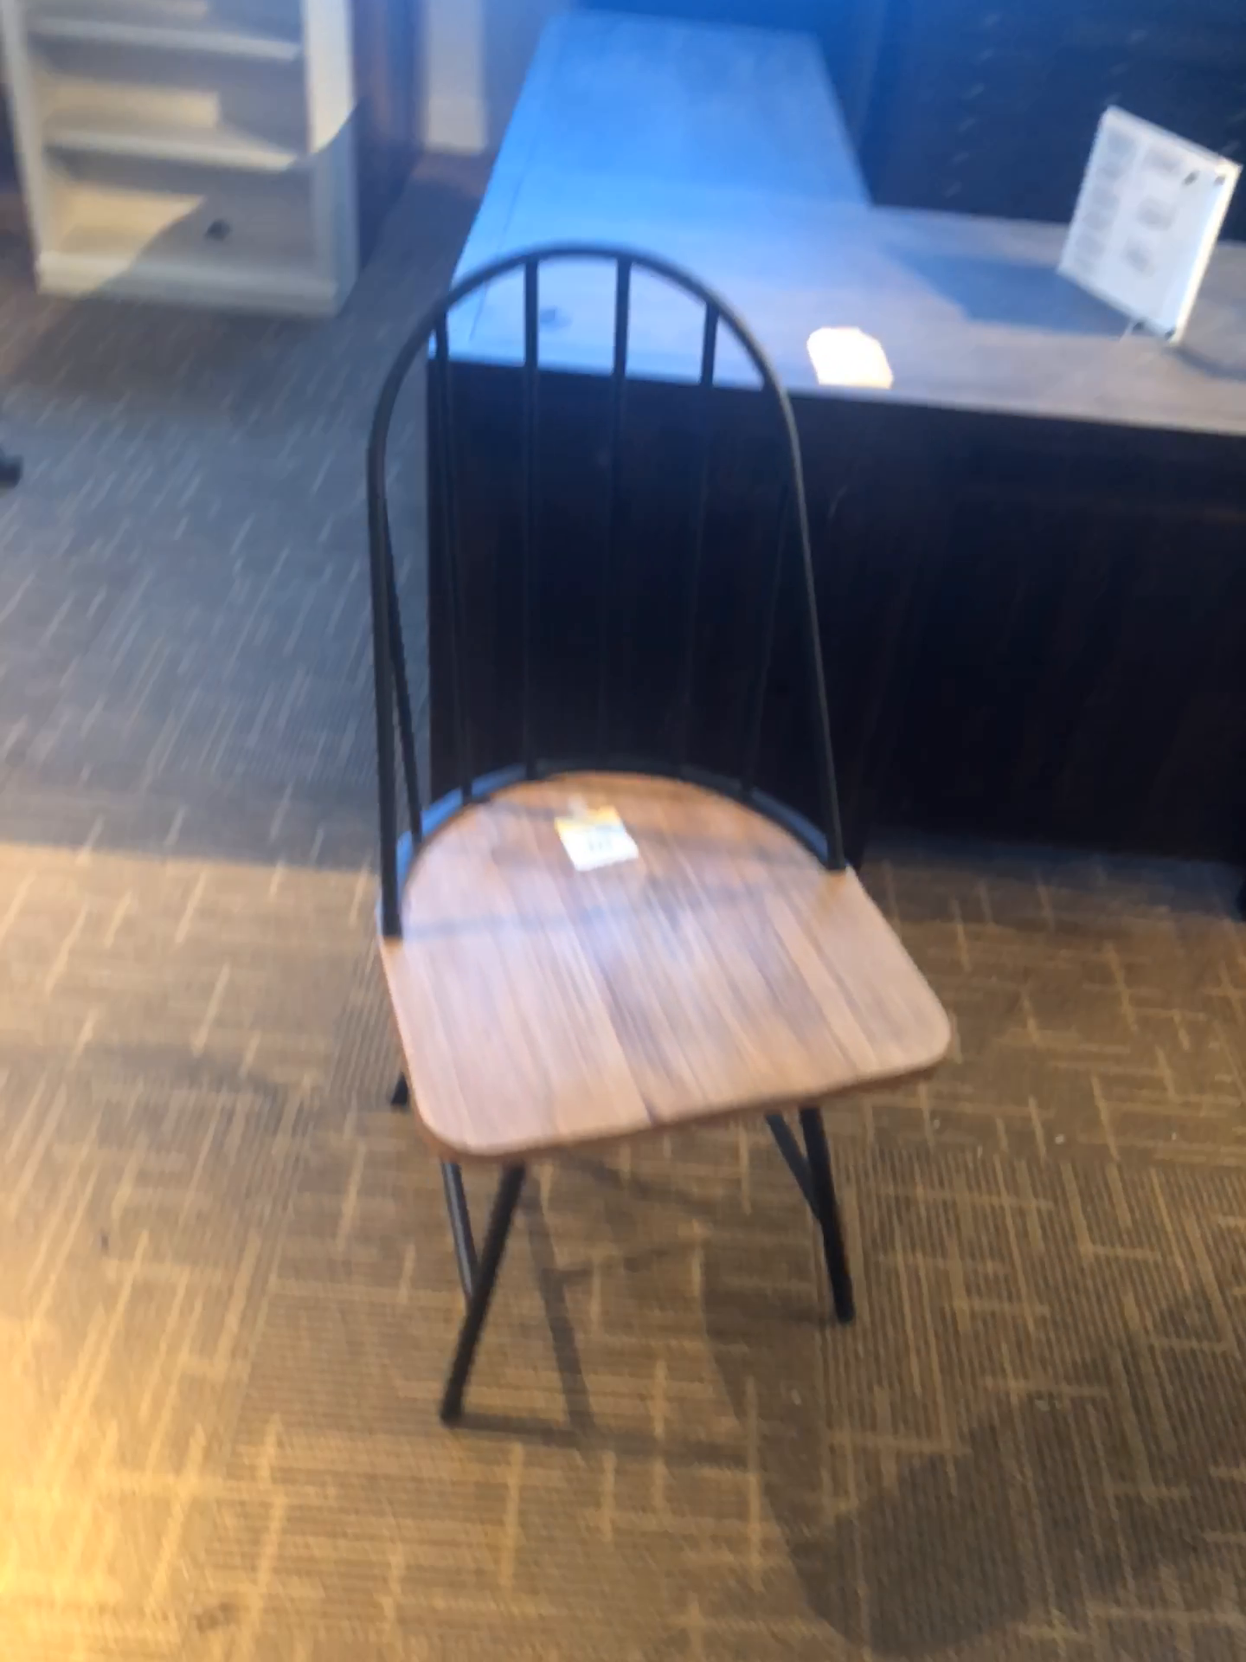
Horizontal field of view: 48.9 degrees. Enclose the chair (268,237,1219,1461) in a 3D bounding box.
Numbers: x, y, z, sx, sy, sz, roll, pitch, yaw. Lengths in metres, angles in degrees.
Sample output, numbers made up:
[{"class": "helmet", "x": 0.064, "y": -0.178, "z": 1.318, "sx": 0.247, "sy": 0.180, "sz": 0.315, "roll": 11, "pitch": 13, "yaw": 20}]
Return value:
[{"class": "chair", "x": -0.002, "y": 0.023, "z": 1.298, "sx": 0.514, "sy": 0.930, "sz": 0.600, "roll": -8, "pitch": 42, "yaw": -17}]
